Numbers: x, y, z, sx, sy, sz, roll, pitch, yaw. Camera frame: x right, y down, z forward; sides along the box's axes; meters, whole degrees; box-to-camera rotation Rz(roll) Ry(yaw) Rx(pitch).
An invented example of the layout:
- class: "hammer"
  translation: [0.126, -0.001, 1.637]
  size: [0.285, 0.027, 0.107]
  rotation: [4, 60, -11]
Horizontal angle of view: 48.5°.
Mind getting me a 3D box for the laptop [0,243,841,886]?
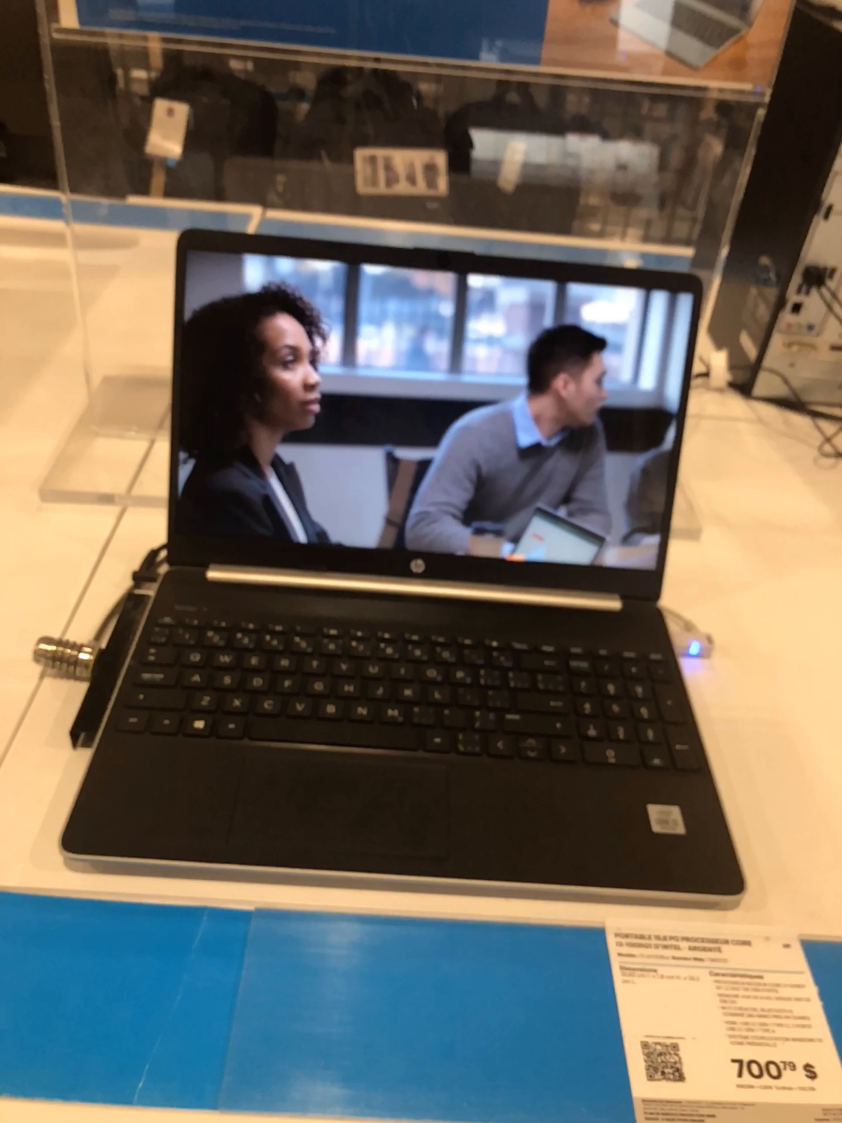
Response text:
- class: "laptop"
  translation: [0.005, -0.021, 0.554]
  size: [0.346, 0.196, 0.335]
  rotation: [4, 36, -3]
